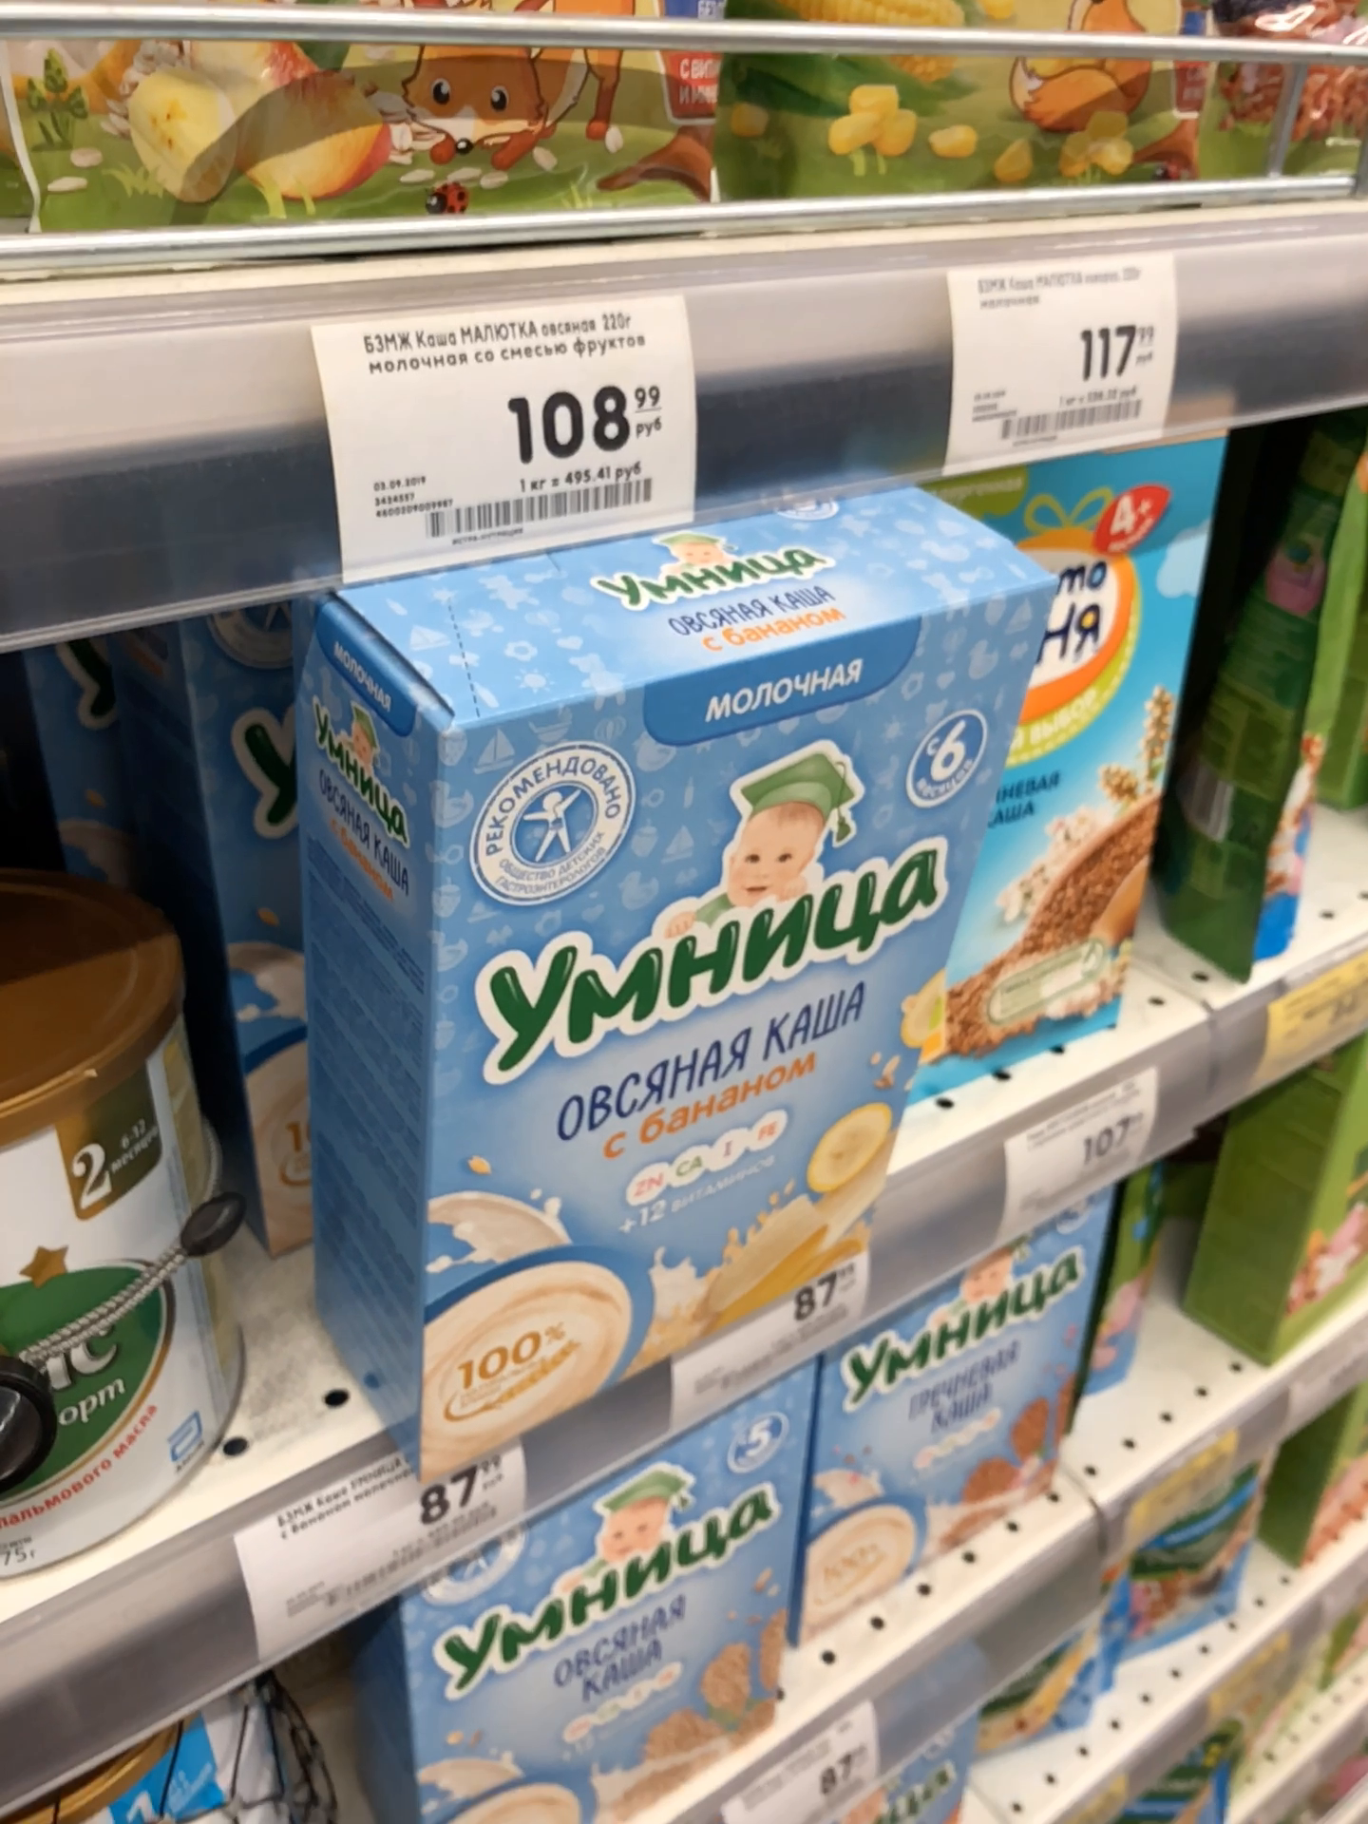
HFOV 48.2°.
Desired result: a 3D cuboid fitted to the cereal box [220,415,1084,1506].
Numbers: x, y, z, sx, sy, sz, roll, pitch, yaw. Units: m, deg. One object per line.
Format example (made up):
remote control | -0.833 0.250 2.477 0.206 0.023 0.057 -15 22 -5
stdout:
cereal box | -0.011 0.012 0.339 0.150 0.209 0.060 -19 44 -32
